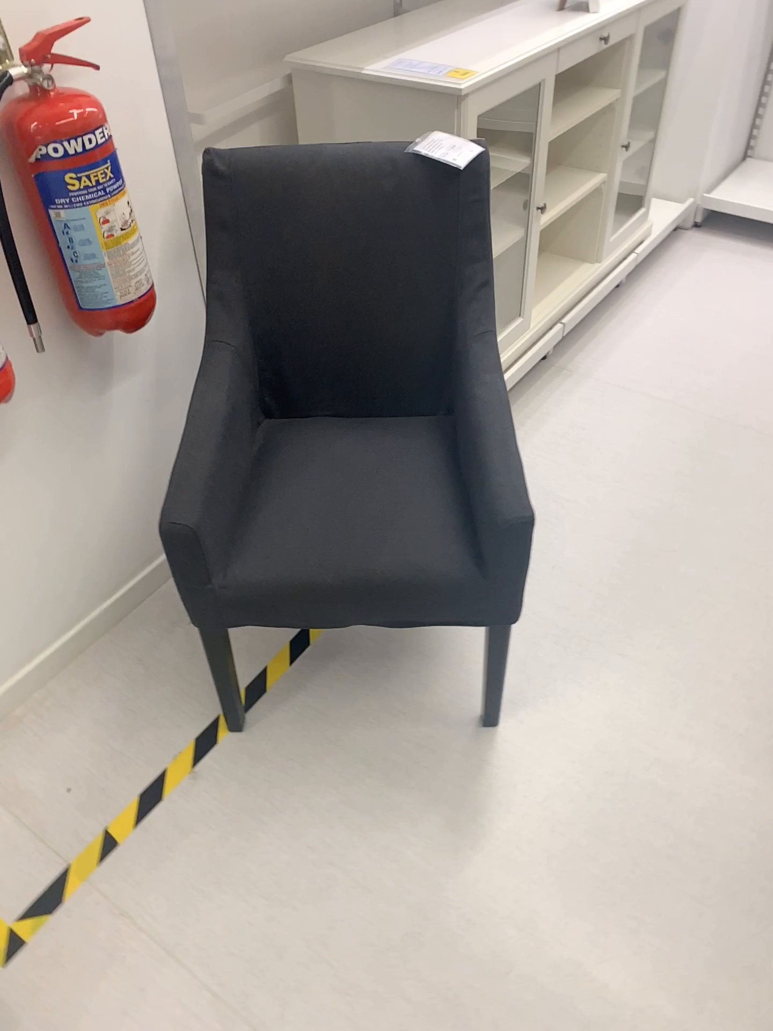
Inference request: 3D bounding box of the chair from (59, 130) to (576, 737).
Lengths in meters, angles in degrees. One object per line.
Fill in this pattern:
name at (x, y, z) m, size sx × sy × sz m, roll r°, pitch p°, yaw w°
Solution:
chair at (-0.066, -0.120, 1.466) m, size 0.610 × 0.916 × 0.632 m, roll -1°, pitch 43°, yaw 2°
